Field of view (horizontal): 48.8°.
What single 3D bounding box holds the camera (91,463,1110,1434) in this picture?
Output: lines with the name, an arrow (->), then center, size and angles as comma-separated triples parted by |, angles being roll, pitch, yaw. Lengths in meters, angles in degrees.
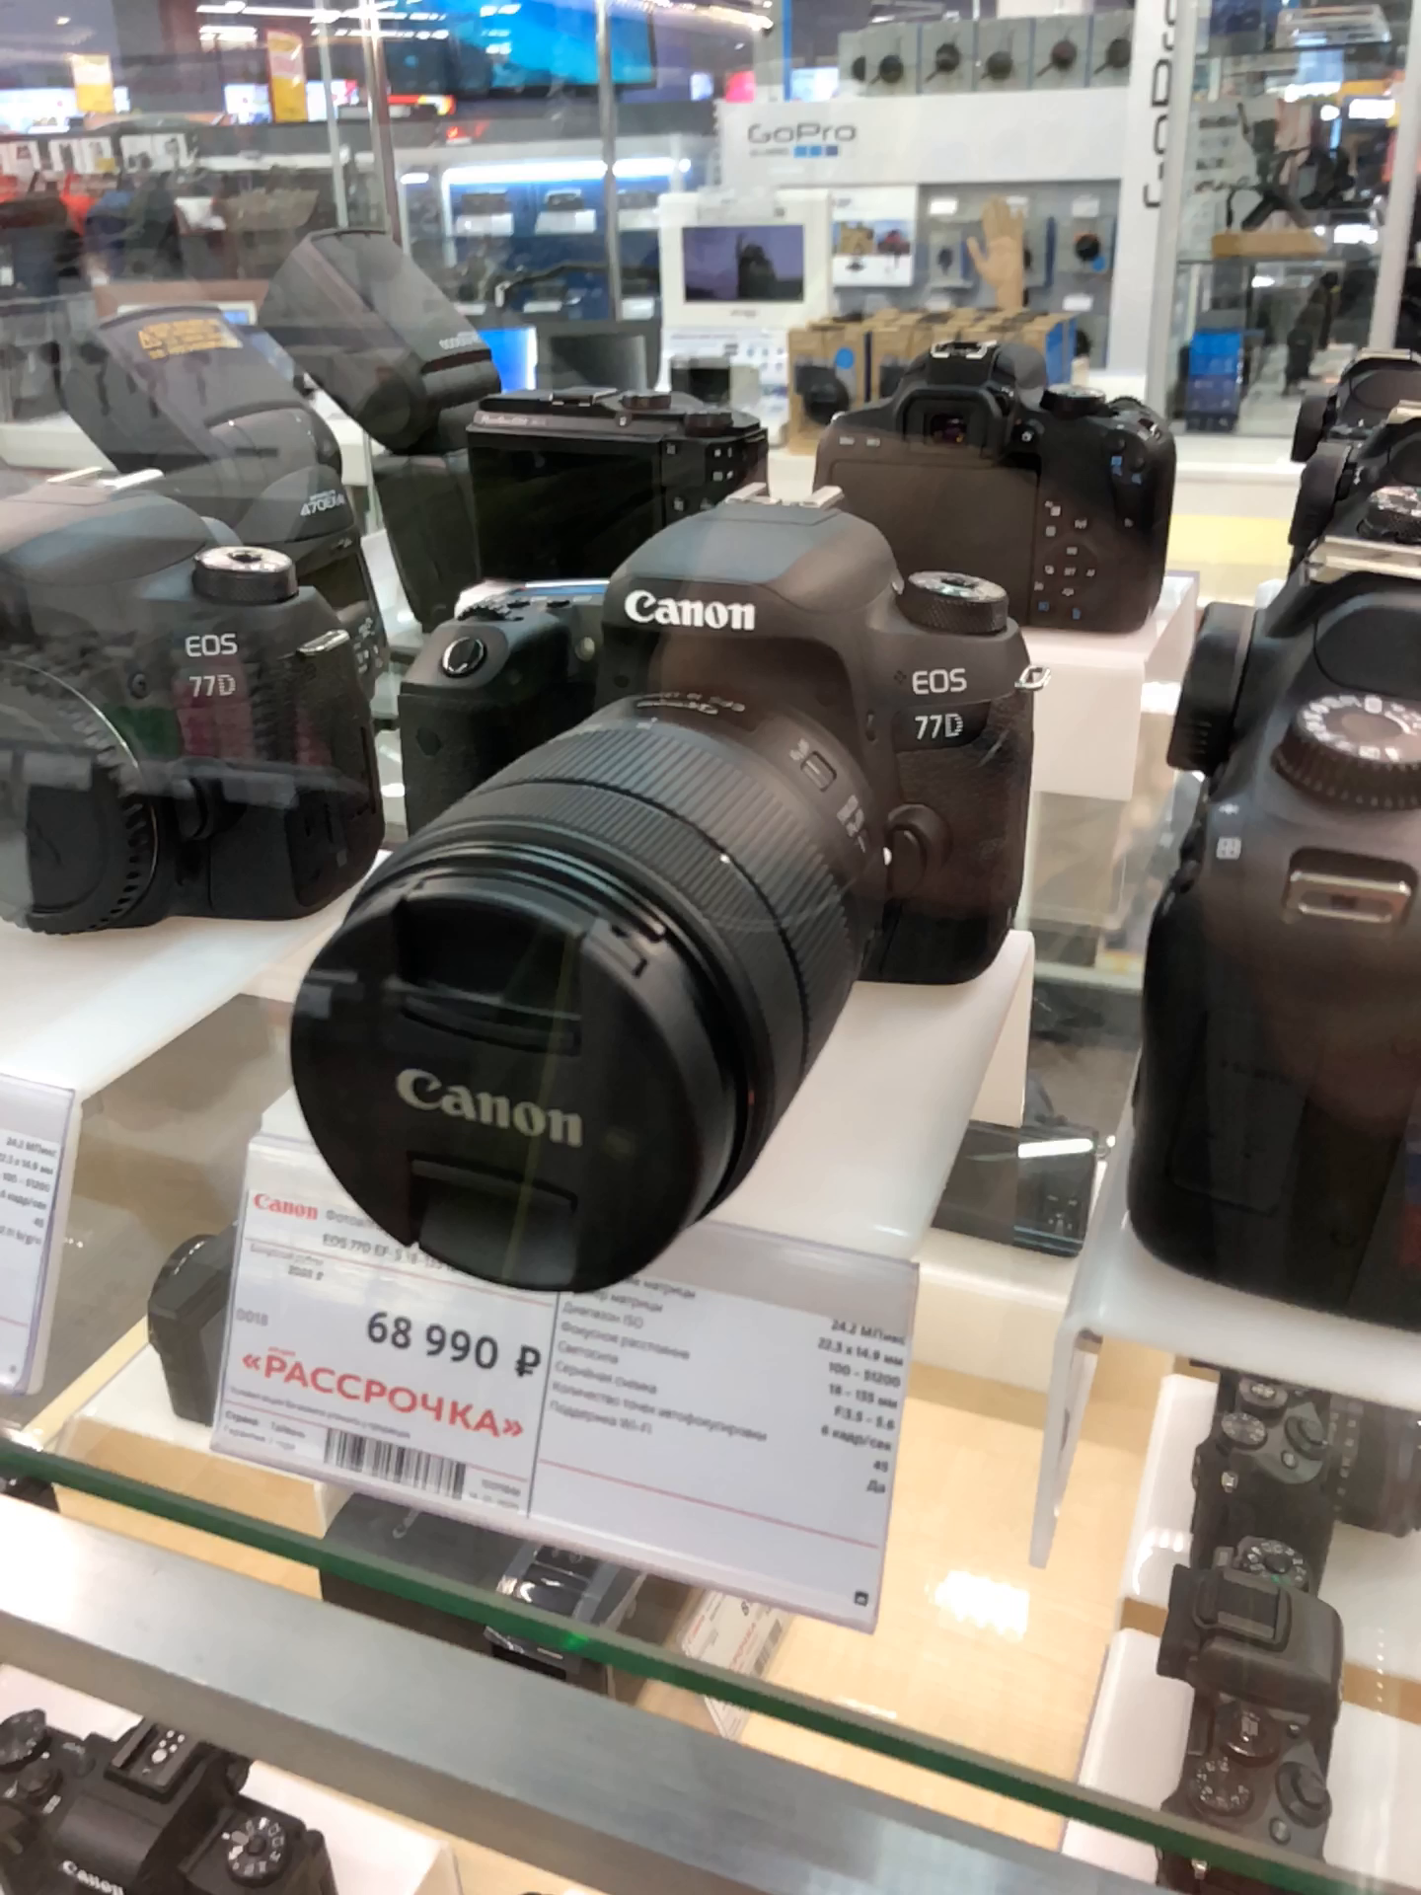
camera -> -0.003, -0.020, 0.316 | 0.132, 0.119, 0.168 | 8, 28, 19
